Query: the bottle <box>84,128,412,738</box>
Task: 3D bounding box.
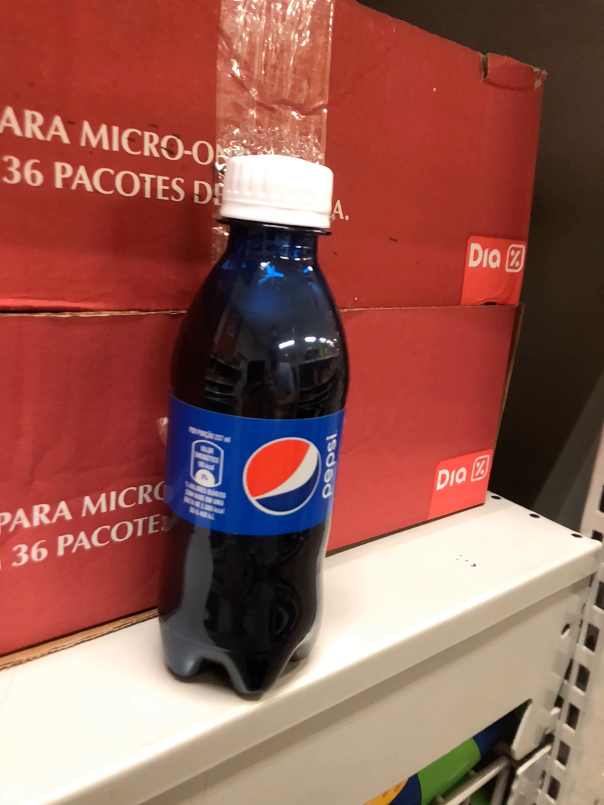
[{"bbox_3d":[-0.018,0.004,0.195,0.060,0.149,0.060,3,17,-1],"label":"bottle"}]
